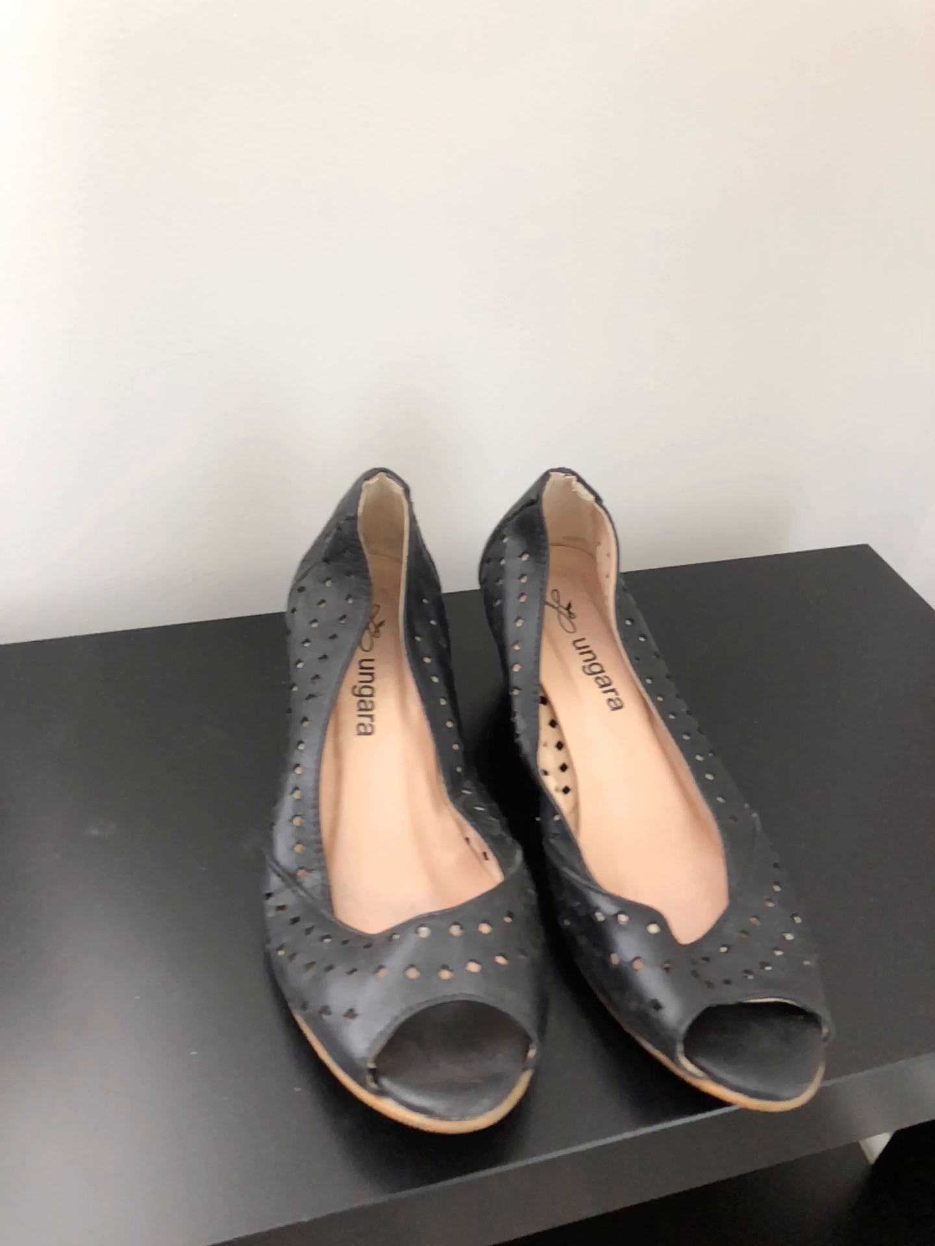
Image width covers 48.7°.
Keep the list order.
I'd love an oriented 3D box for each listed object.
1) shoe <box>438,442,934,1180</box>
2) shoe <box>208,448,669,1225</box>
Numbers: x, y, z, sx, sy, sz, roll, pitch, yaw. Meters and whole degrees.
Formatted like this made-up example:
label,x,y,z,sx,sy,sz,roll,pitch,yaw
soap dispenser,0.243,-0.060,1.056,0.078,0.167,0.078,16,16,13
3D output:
label,x,y,z,sx,sy,sz,roll,pitch,yaw
shoe,0.063,0.040,0.344,0.085,0.100,0.221,-7,40,-16
shoe,-0.029,0.045,0.339,0.085,0.100,0.231,-6,39,-14
